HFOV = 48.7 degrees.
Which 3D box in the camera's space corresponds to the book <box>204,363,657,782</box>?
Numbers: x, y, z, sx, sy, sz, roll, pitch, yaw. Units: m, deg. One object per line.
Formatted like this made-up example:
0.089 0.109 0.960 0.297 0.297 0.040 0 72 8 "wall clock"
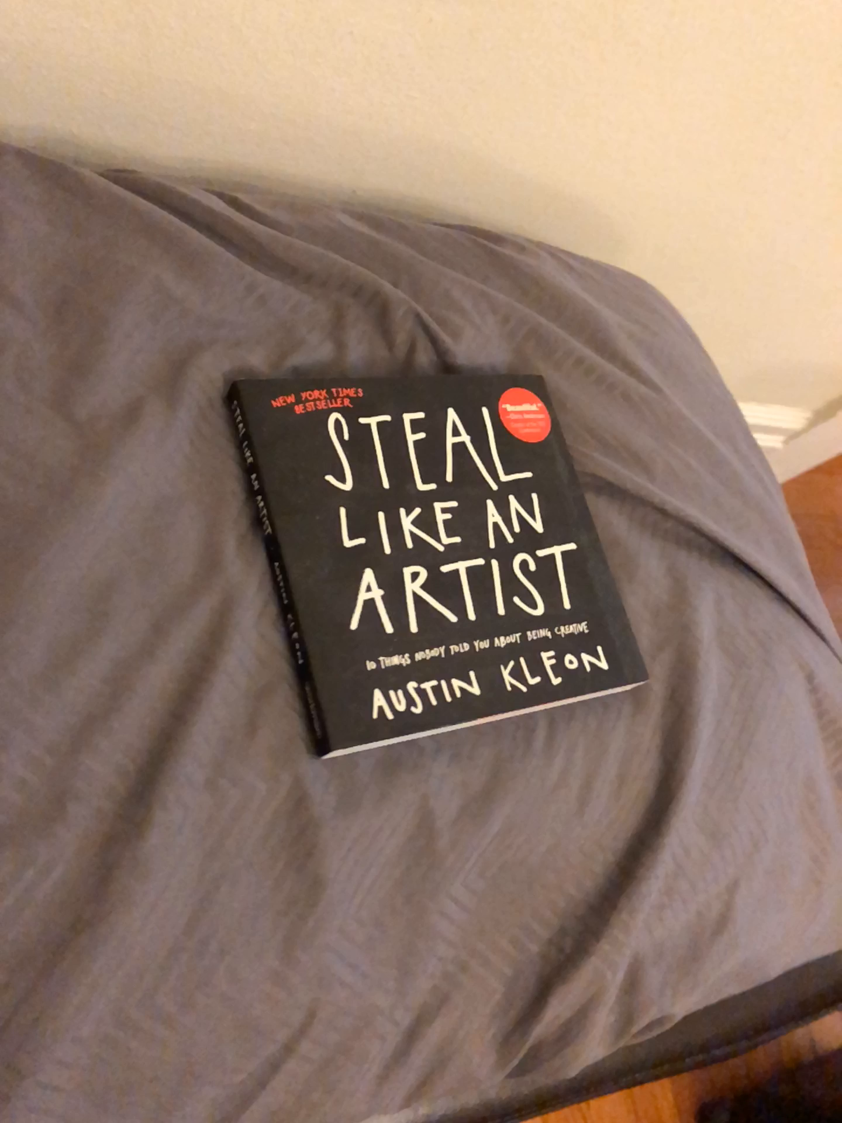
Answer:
0.007 -0.007 0.387 0.161 0.020 0.160 -7 71 -31 "book"
